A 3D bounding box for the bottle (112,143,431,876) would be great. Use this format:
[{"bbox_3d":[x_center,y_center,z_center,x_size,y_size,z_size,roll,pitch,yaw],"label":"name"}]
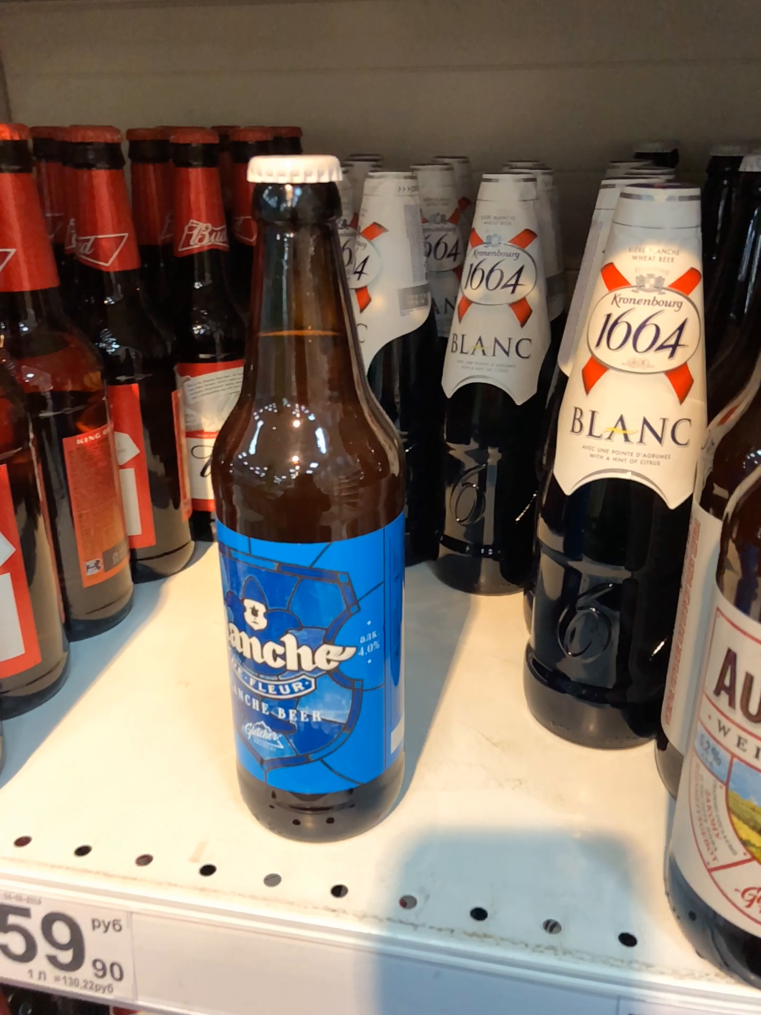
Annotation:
[{"bbox_3d":[-0.029,0.003,0.301,0.070,0.244,0.070,0,22,0],"label":"bottle"}]
